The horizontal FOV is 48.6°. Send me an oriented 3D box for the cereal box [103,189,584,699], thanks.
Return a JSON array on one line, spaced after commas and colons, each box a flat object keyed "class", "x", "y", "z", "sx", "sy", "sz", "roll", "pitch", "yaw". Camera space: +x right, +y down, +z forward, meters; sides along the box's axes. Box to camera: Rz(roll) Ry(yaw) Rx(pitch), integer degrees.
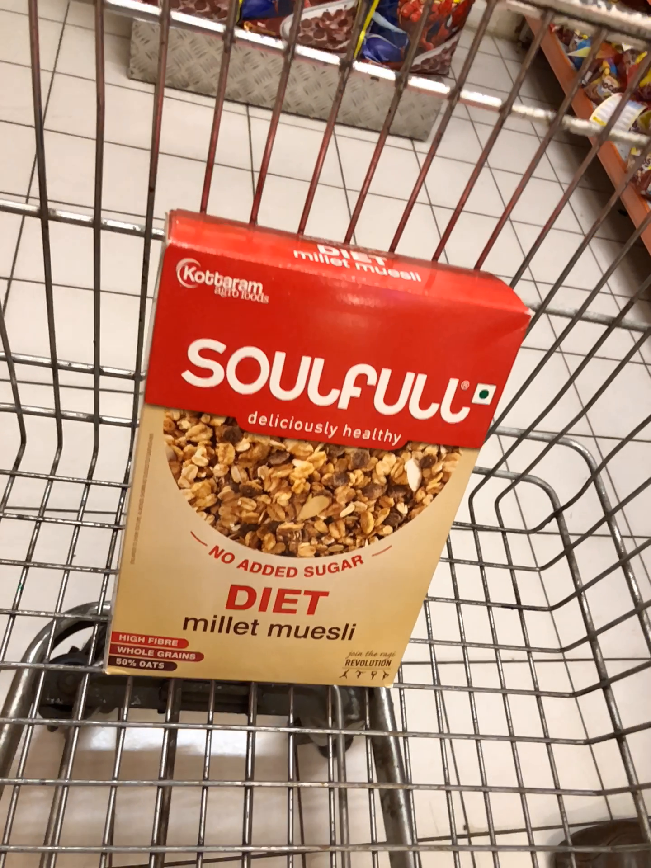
[{"class": "cereal box", "x": -0.008, "y": 0.027, "z": 0.362, "sx": 0.170, "sy": 0.249, "sz": 0.050, "roll": 8, "pitch": 30, "yaw": -15}]
